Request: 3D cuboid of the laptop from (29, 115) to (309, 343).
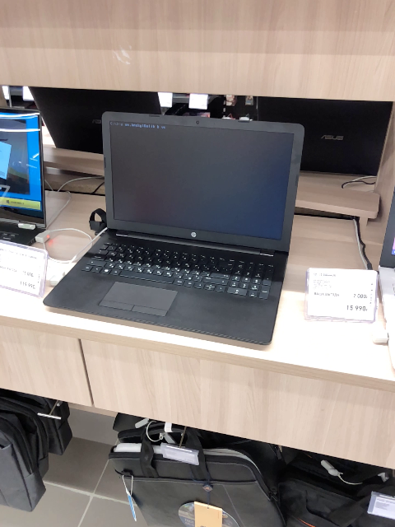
[{"bbox_3d":[-0.021,-0.086,0.729,0.358,0.222,0.298,8,34,15],"label":"laptop"}]
